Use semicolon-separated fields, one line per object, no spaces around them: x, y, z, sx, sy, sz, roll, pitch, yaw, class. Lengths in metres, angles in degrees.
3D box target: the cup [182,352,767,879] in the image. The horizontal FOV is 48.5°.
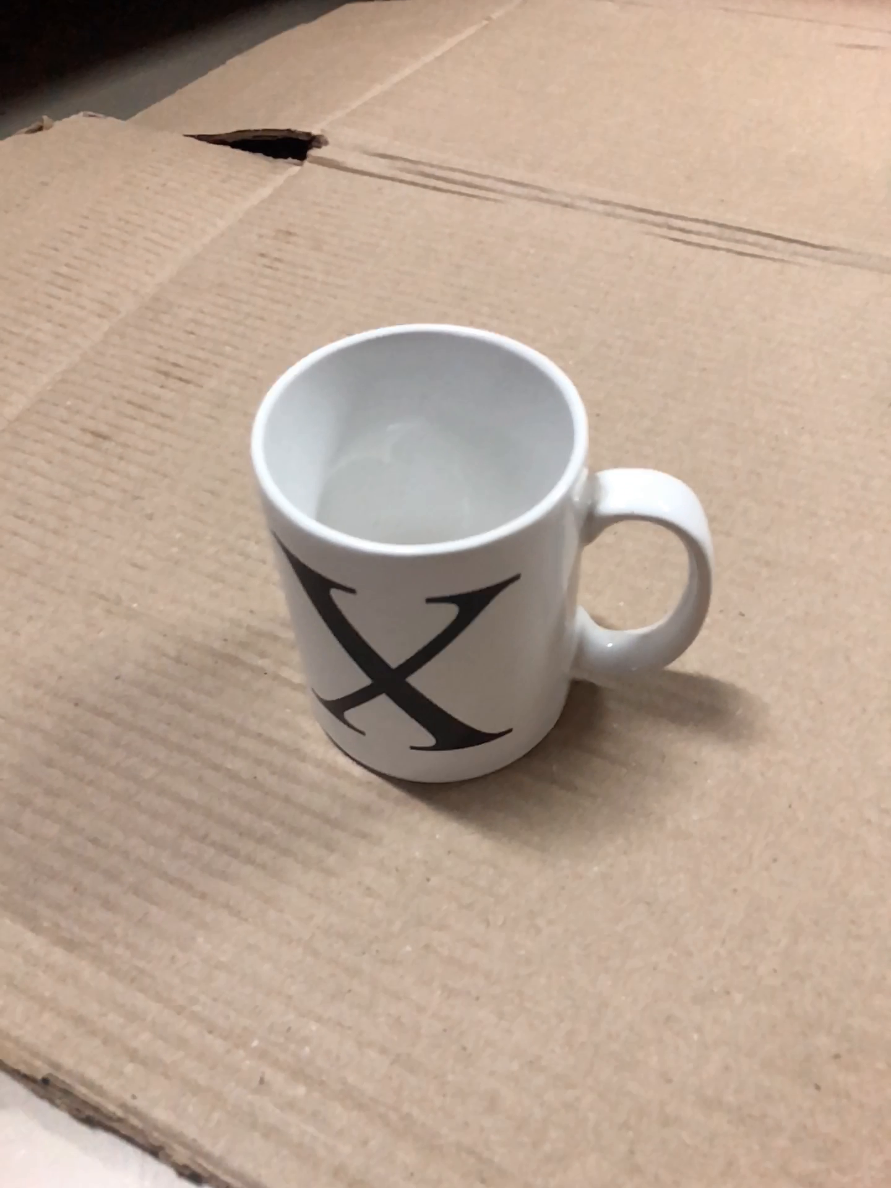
0.011;0.004;0.244;0.110;0.089;0.080;5;46;7;cup
